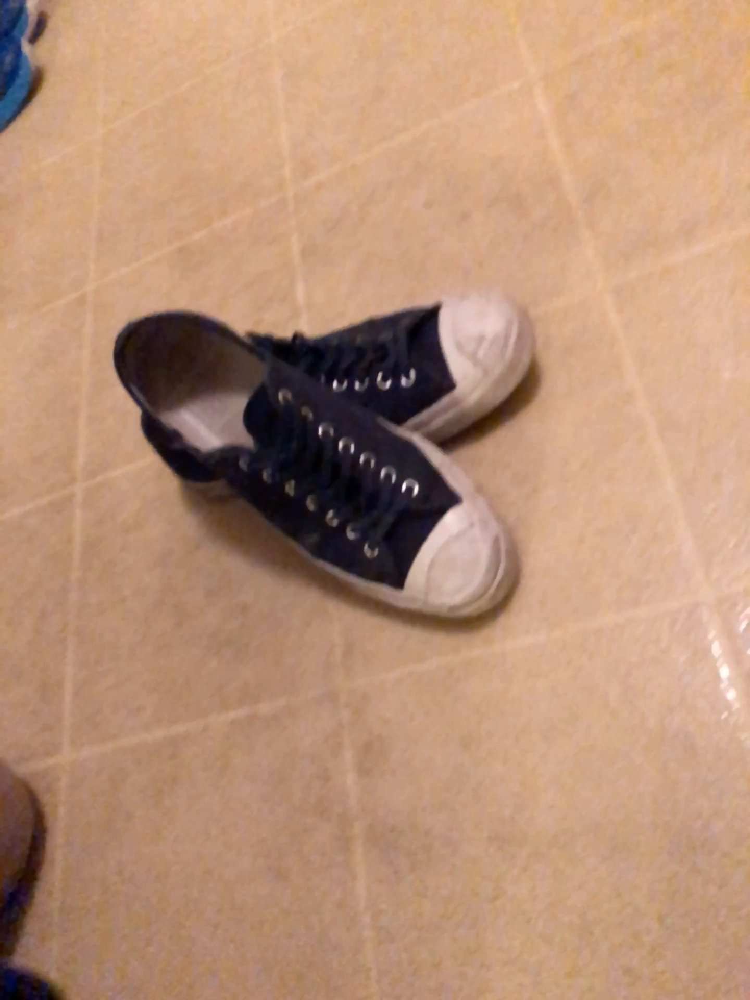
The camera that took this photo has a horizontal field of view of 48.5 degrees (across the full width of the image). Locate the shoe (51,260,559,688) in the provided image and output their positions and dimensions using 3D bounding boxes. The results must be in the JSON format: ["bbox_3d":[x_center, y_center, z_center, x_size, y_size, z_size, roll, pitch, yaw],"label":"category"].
[{"bbox_3d":[-0.041,-0.024,0.519,0.291,0.100,0.100,34,103,11],"label":"shoe"}]

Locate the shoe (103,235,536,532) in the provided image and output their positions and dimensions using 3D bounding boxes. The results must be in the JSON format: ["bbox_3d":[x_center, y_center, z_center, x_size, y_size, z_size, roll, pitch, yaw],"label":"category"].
[{"bbox_3d":[-0.045,-0.076,0.601,0.290,0.080,0.110,-15,65,12],"label":"shoe"}]
